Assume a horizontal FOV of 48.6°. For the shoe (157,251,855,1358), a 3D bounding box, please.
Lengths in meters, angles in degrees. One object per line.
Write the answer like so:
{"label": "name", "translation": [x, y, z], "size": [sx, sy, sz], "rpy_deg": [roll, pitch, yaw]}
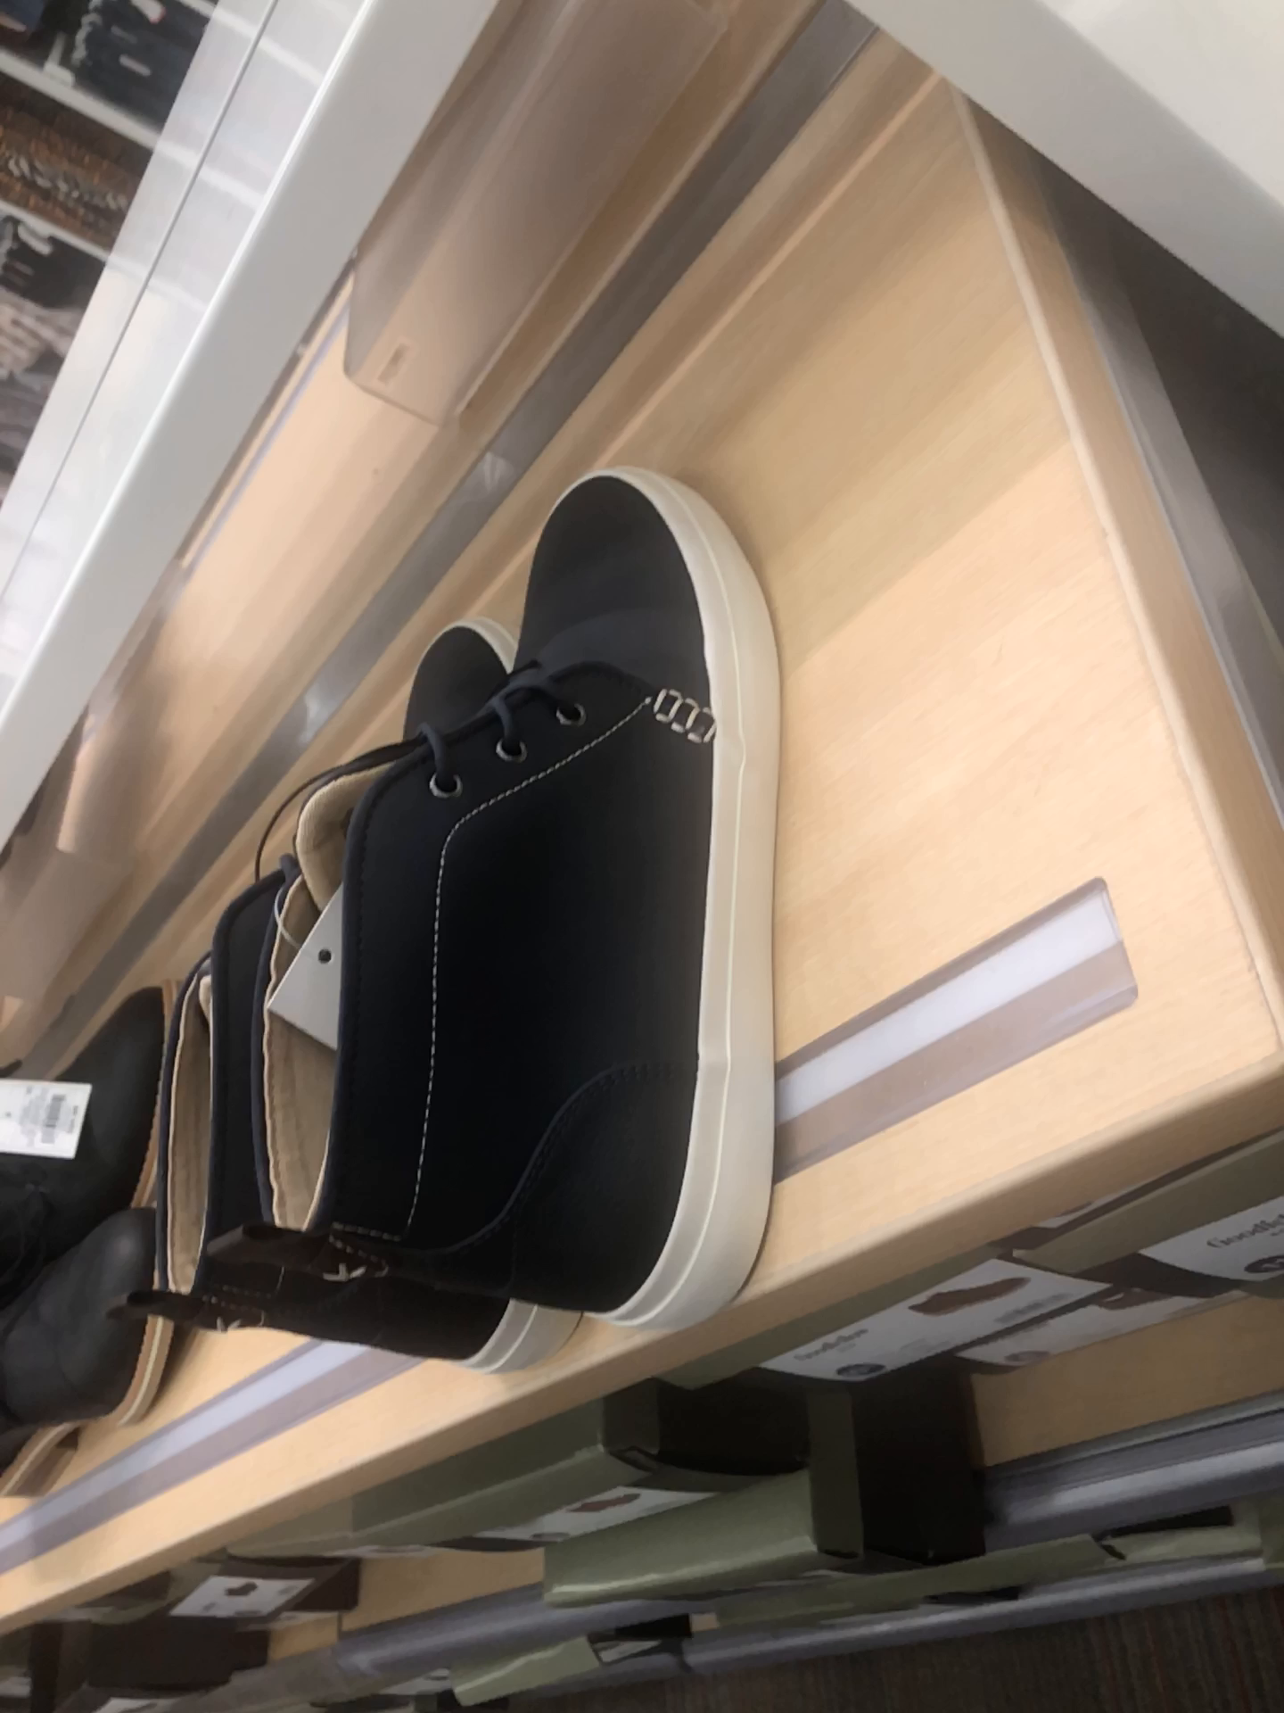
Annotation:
{"label": "shoe", "translation": [-0.040, -0.014, 0.397], "size": [0.106, 0.124, 0.268], "rpy_deg": [-37, 46, 44]}

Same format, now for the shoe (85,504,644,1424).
{"label": "shoe", "translation": [-0.090, 0.033, 0.462], "size": [0.109, 0.114, 0.258], "rpy_deg": [-41, 43, 40]}
